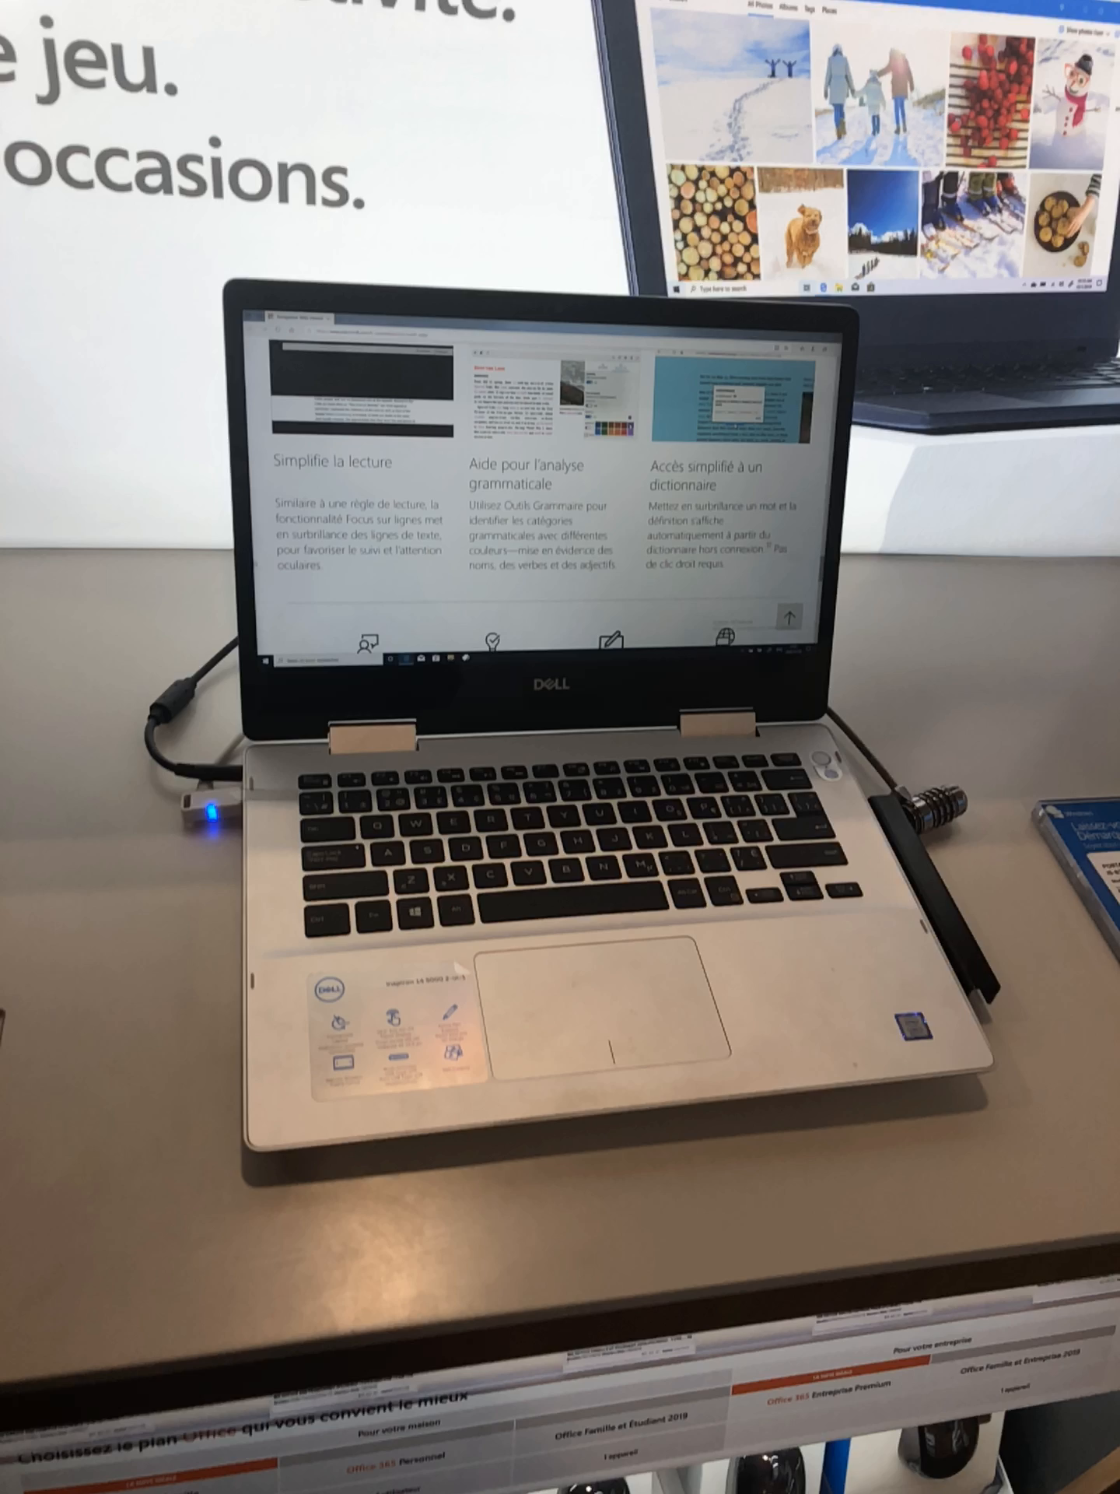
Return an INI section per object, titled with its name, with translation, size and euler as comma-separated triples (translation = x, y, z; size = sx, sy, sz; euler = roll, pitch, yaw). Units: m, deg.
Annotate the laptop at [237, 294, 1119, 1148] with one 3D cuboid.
[laptop]
translation = 0.019, -0.037, 0.567
size = 0.316, 0.193, 0.338
euler = -2, 44, -13
